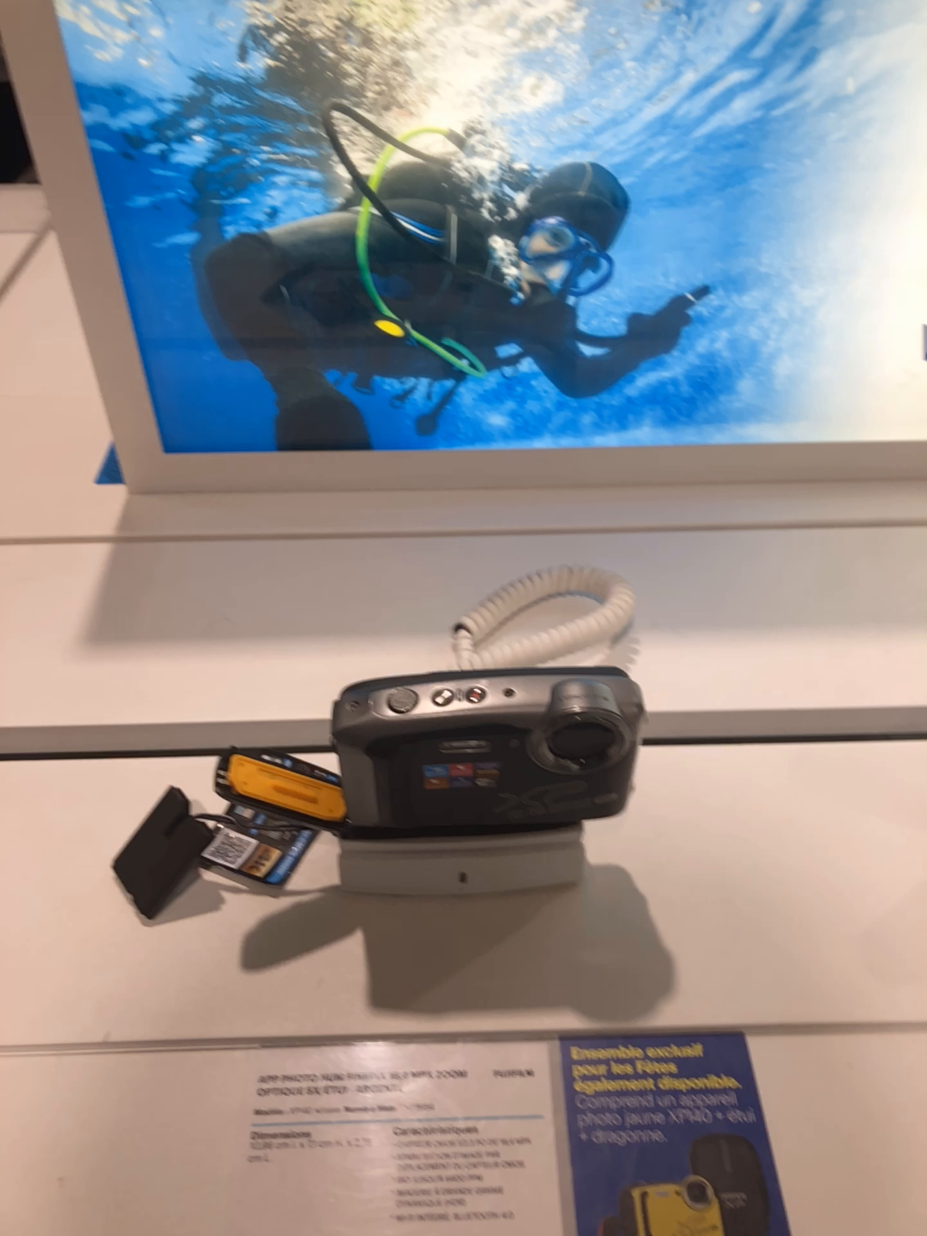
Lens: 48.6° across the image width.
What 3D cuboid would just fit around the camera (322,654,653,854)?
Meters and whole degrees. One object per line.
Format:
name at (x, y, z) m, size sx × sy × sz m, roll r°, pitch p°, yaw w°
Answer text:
camera at (0.008, 0.049, 0.359) m, size 0.106 × 0.069 × 0.023 m, roll -3°, pitch 42°, yaw -2°
